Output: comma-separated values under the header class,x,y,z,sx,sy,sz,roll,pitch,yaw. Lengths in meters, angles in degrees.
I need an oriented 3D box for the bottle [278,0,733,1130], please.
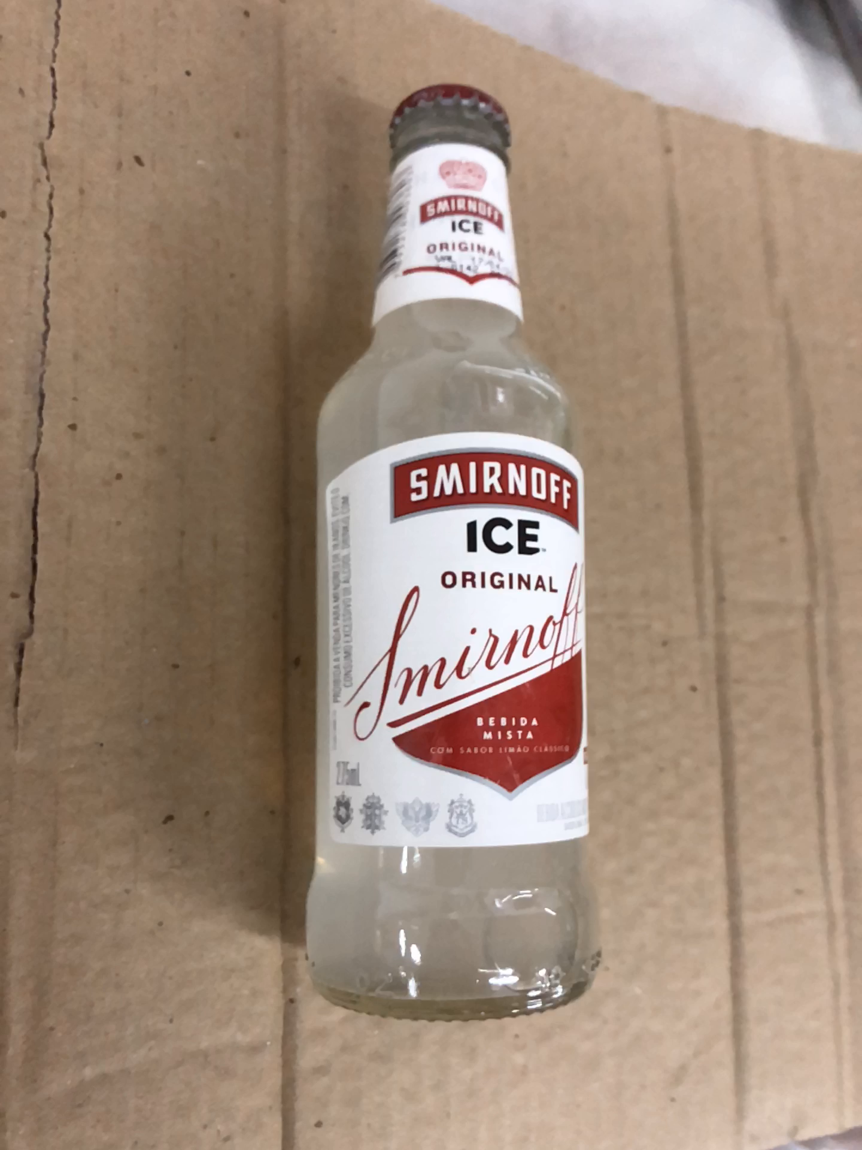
class,x,y,z,sx,sy,sz,roll,pitch,yaw
bottle,0.013,-0.016,0.199,0.070,0.050,0.210,5,80,-32
